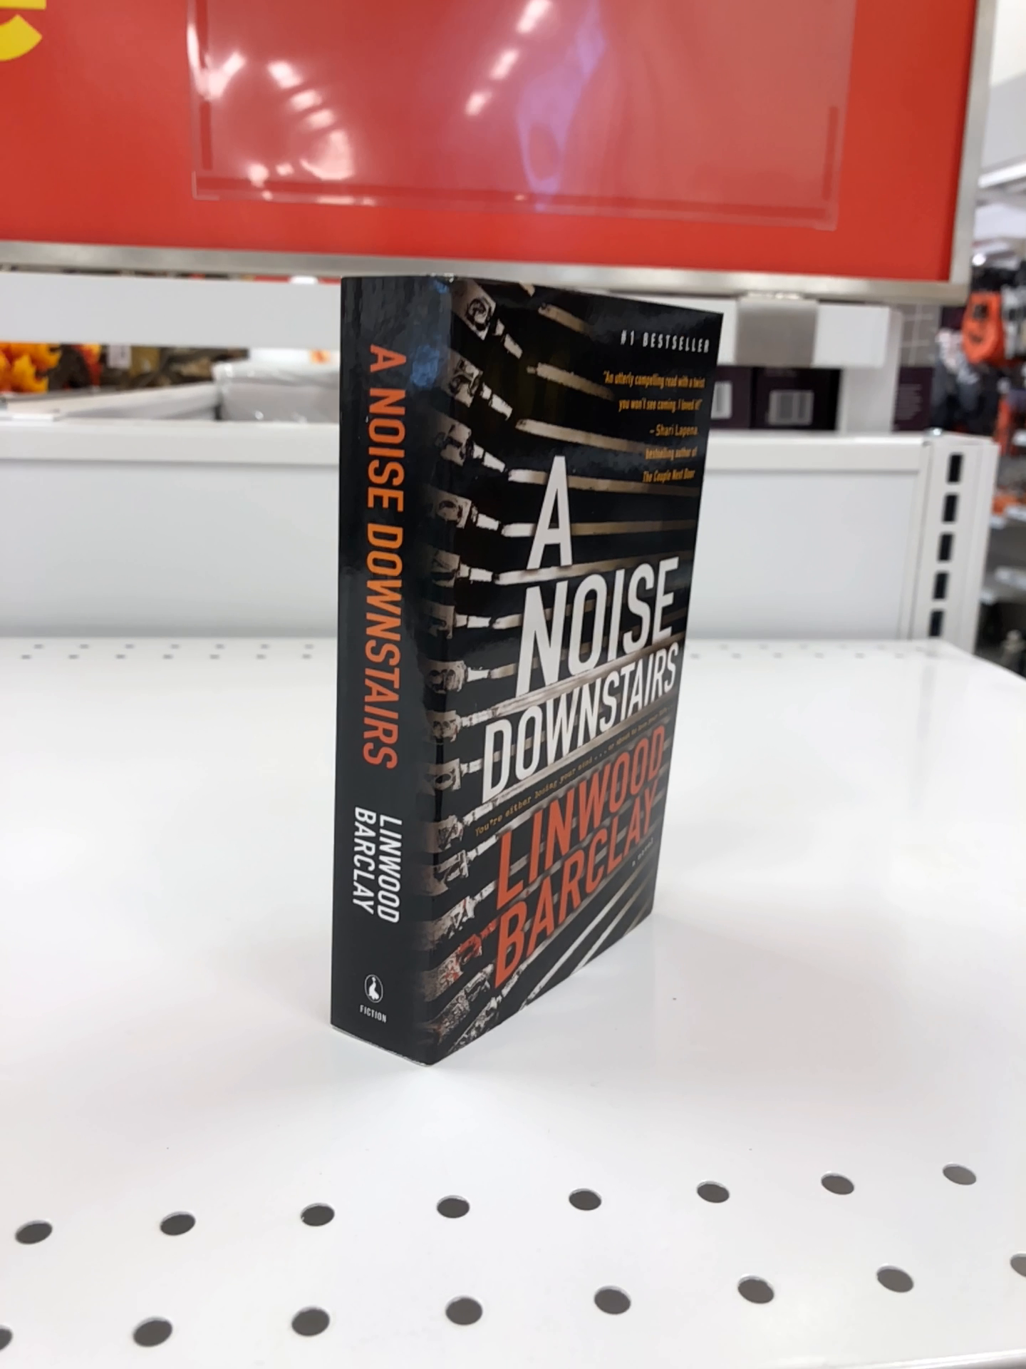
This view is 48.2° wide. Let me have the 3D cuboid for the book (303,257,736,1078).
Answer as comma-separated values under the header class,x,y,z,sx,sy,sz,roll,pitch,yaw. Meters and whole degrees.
class,x,y,z,sx,sy,sz,roll,pitch,yaw
book,0.004,-0.010,0.284,0.041,0.170,0.110,14,19,35
